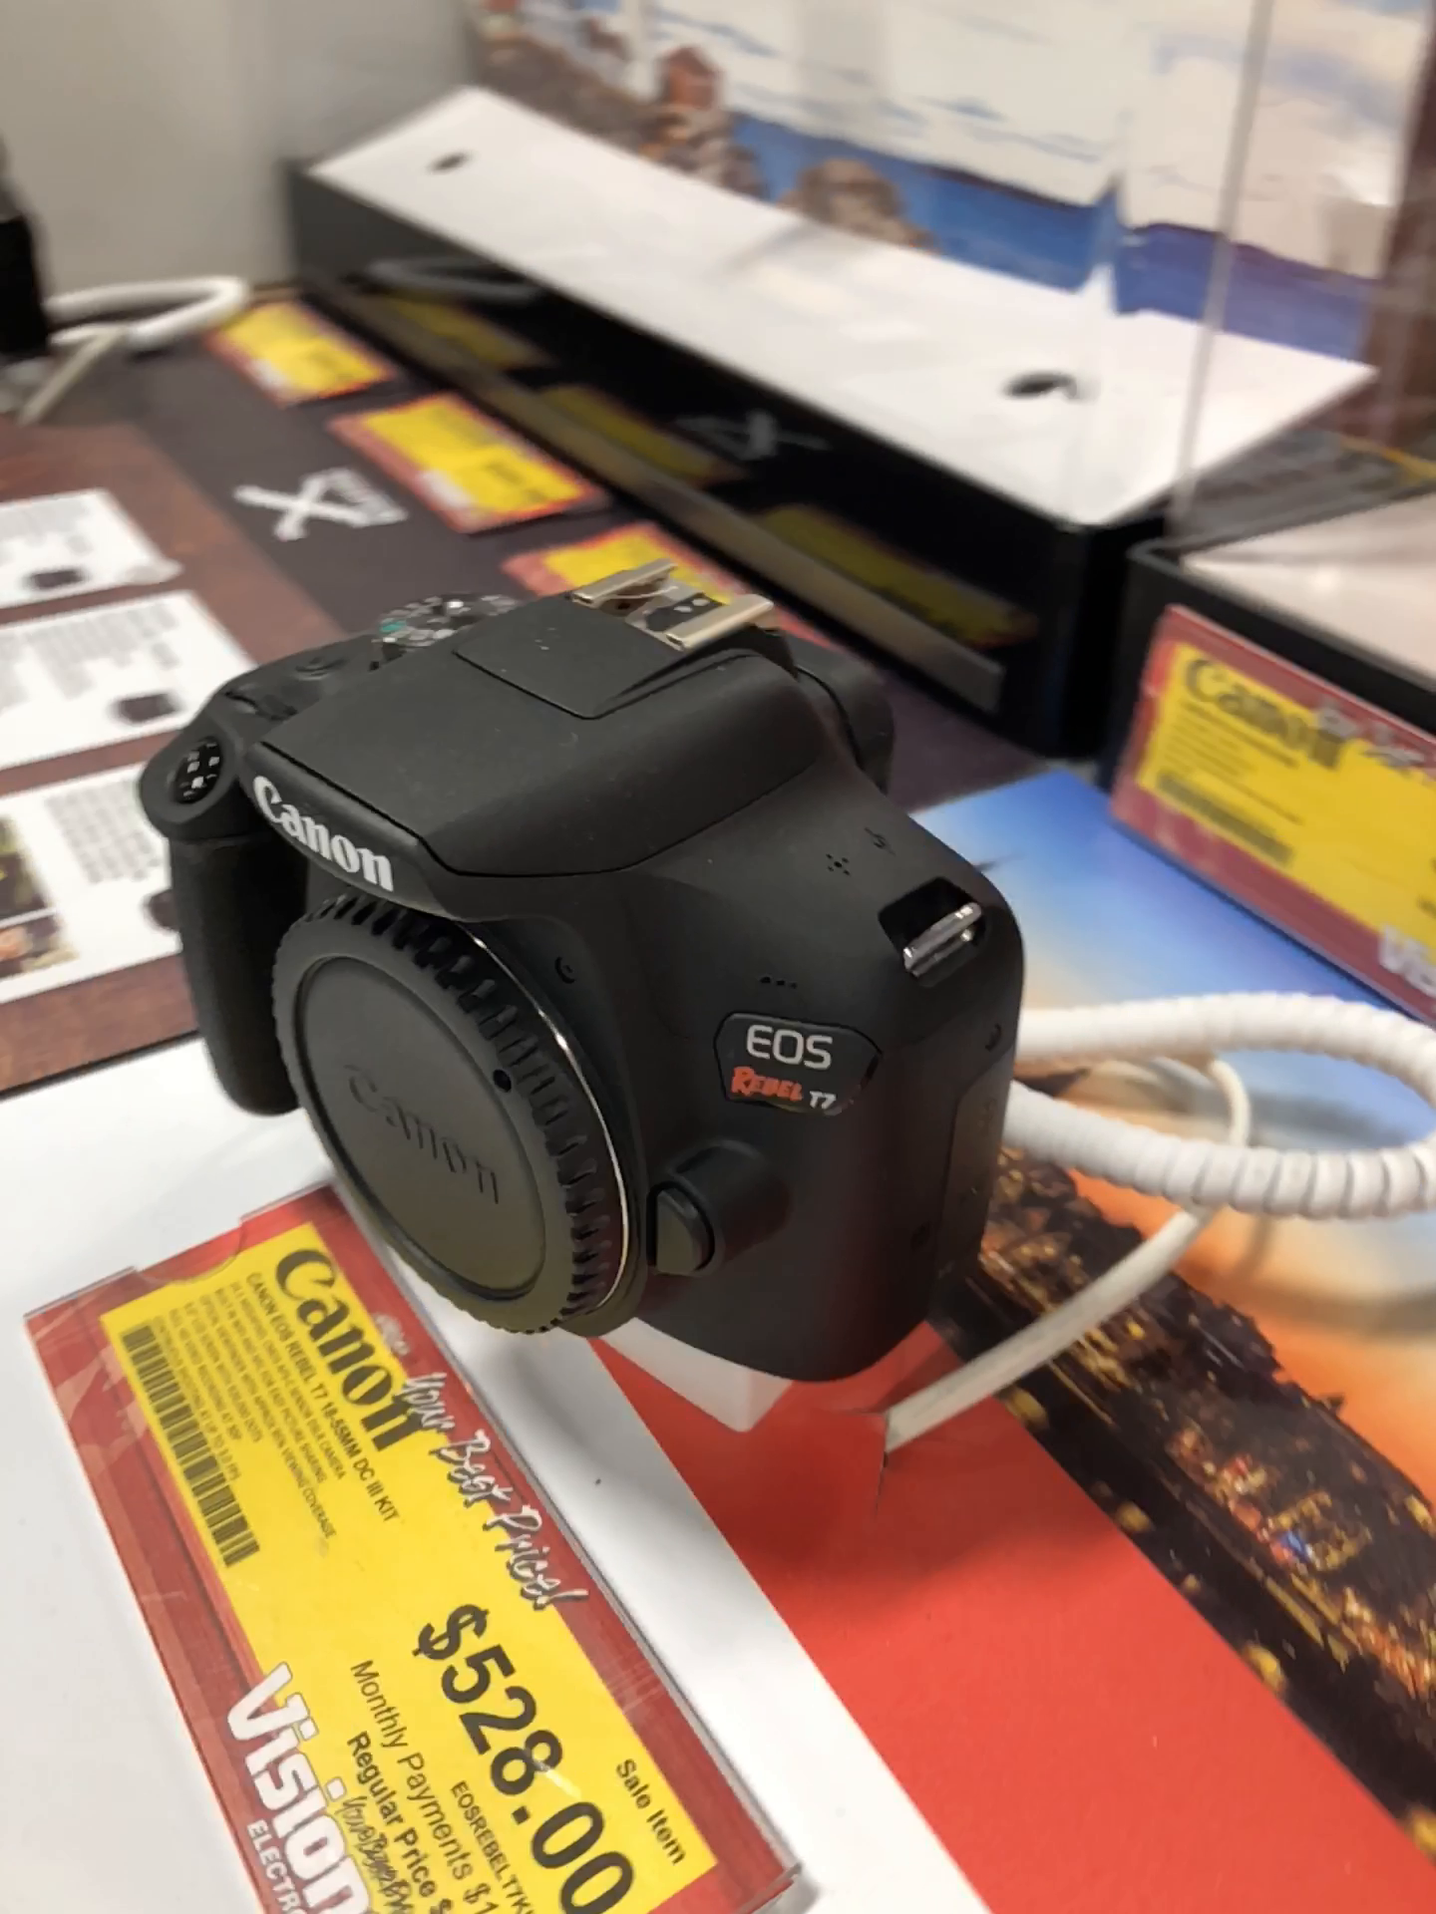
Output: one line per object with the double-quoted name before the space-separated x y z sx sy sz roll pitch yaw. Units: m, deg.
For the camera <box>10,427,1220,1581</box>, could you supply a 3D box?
"camera" -0.018 -0.007 0.230 0.131 0.089 0.090 30 44 35
